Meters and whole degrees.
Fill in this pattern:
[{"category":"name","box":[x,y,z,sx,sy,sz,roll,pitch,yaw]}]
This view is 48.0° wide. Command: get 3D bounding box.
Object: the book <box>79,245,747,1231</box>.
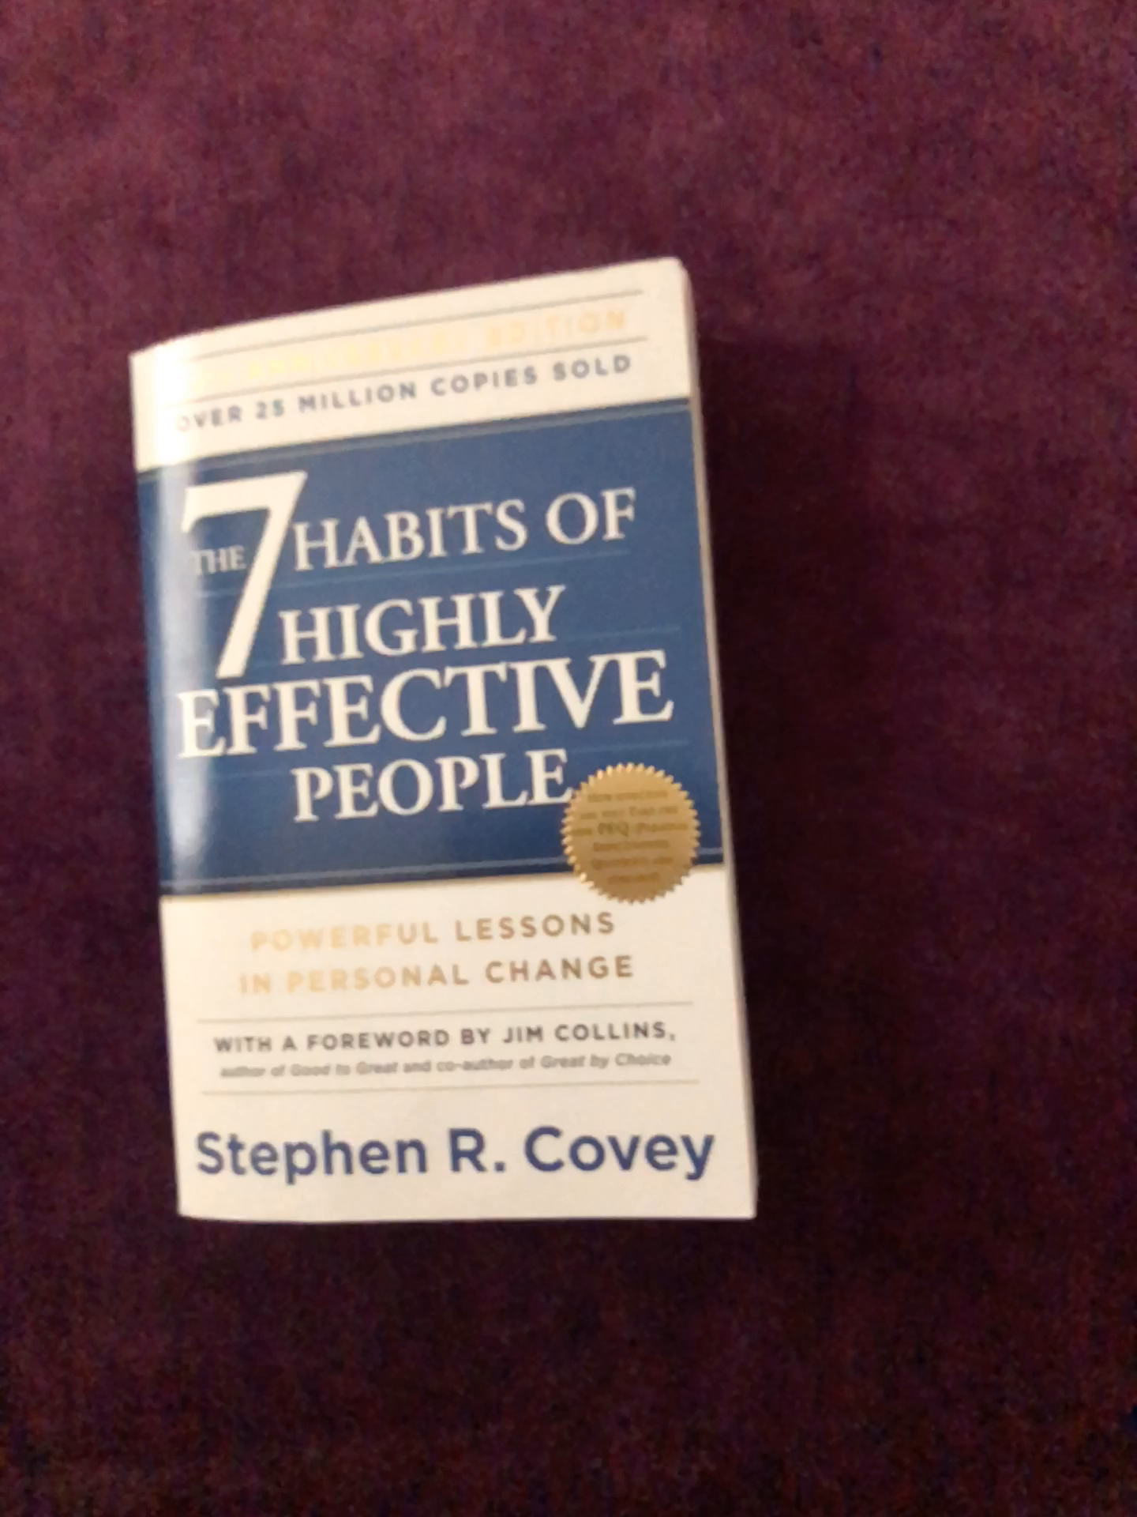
[{"category":"book","box":[-0.038,0.000,0.309,0.146,0.029,0.217,-4,89,11]}]
